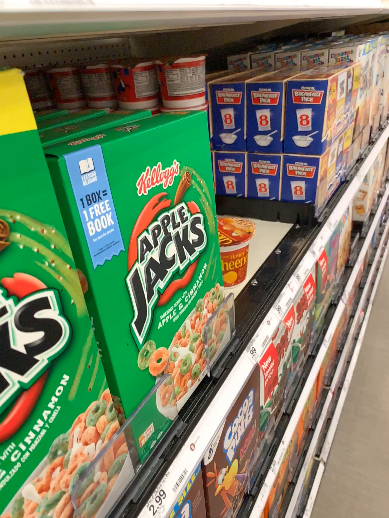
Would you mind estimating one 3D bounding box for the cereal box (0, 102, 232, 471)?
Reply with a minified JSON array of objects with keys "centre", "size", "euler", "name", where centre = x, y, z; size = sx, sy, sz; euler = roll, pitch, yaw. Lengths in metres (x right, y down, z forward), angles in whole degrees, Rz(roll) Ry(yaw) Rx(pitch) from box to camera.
[{"centre":[-0.045,0.016,0.393],"size":[0.060,0.289,0.201],"euler":[6,30,29],"name":"cereal box"}]
